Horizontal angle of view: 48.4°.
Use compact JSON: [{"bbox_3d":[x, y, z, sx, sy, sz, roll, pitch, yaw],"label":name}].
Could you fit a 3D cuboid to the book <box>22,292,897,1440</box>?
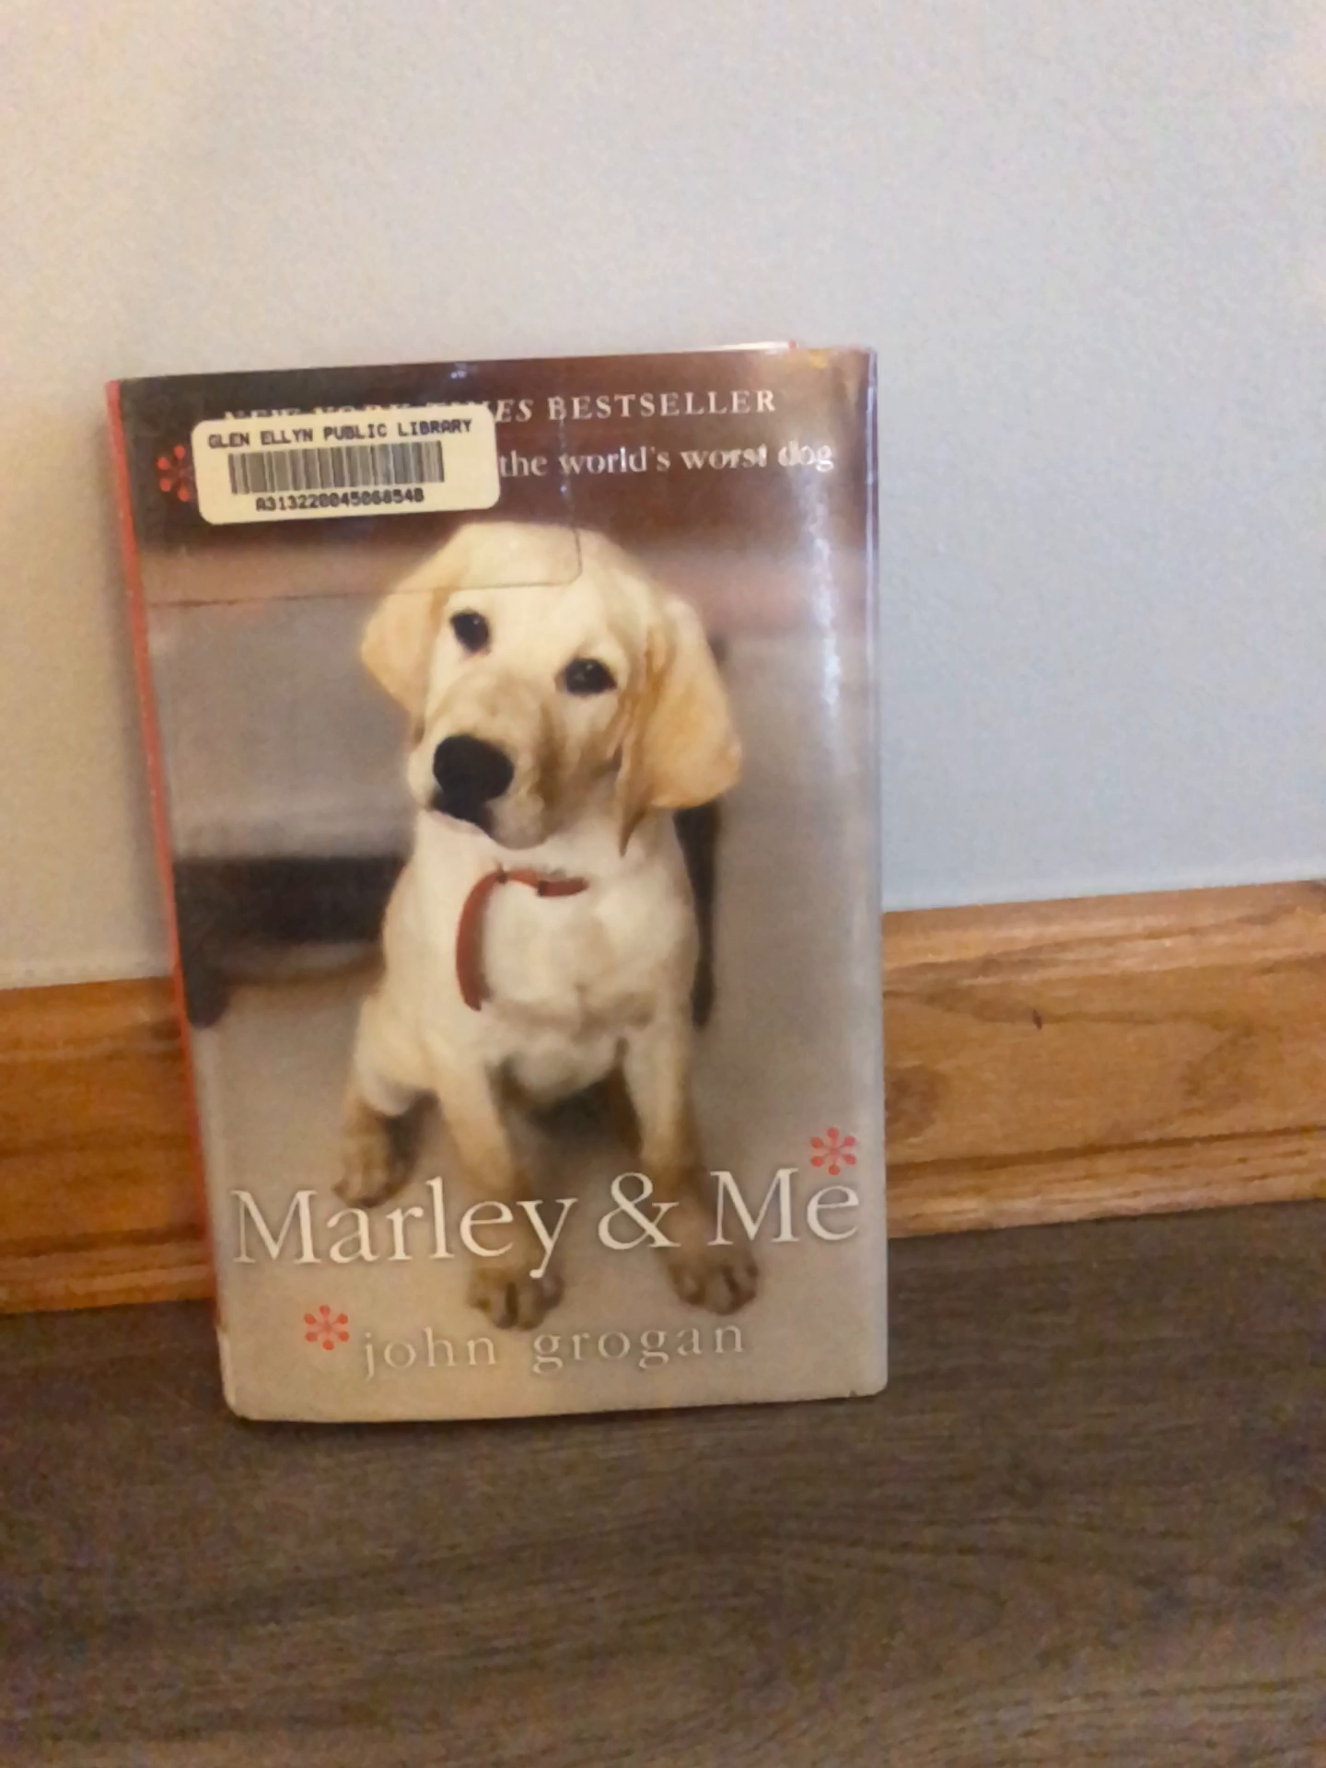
[{"bbox_3d":[-0.033,0.001,0.308,0.151,0.219,0.040,-4,12,0],"label":"book"}]
